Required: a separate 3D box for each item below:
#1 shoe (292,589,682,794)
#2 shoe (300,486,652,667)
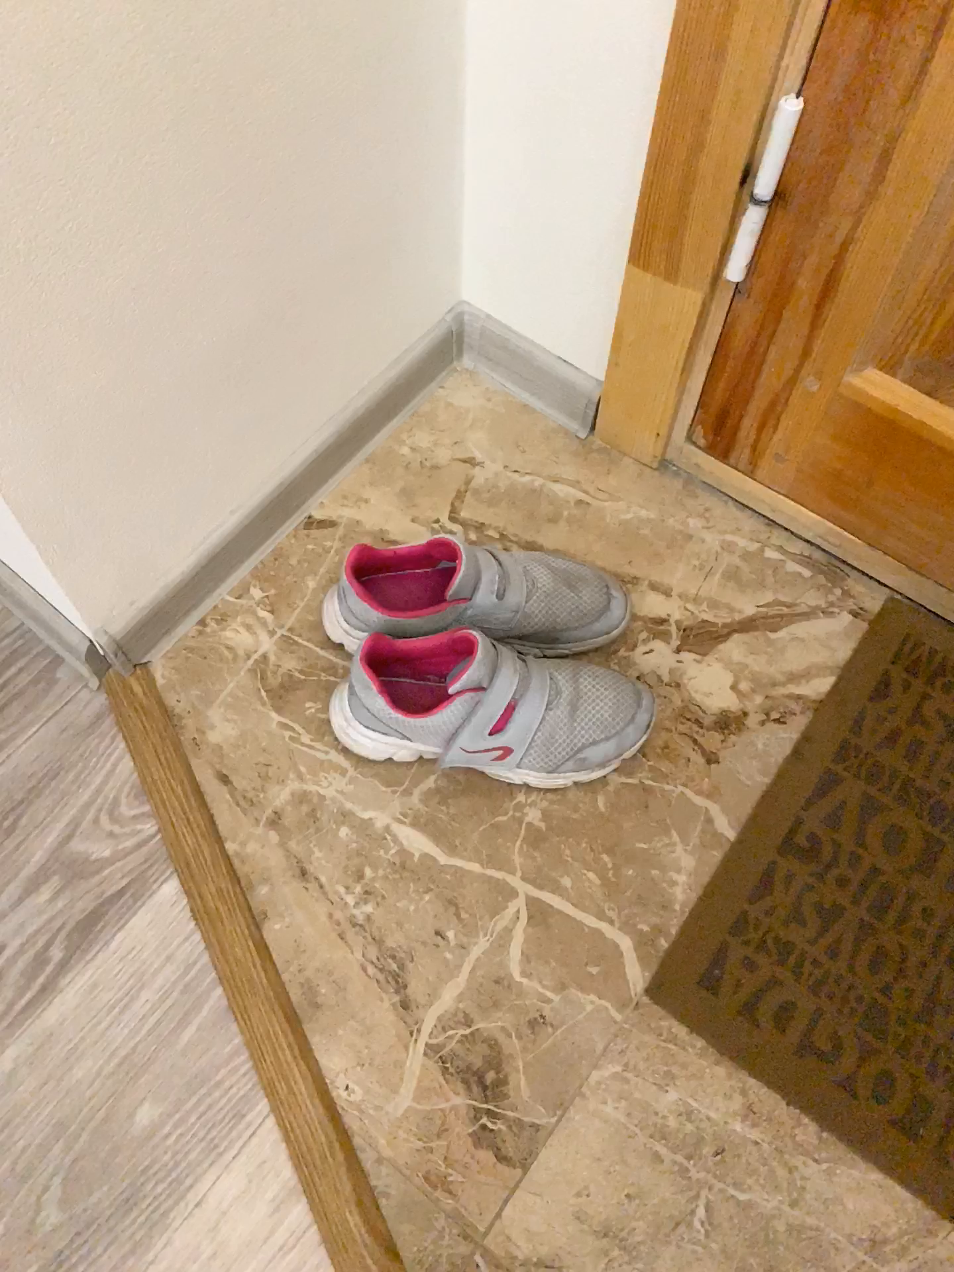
[{"bbox_3d":[0.008,0.043,0.719,0.260,0.100,0.100,4,61,0],"label":"shoe"},{"bbox_3d":[-0.003,-0.045,0.762,0.250,0.100,0.100,-1,61,-2],"label":"shoe"}]
